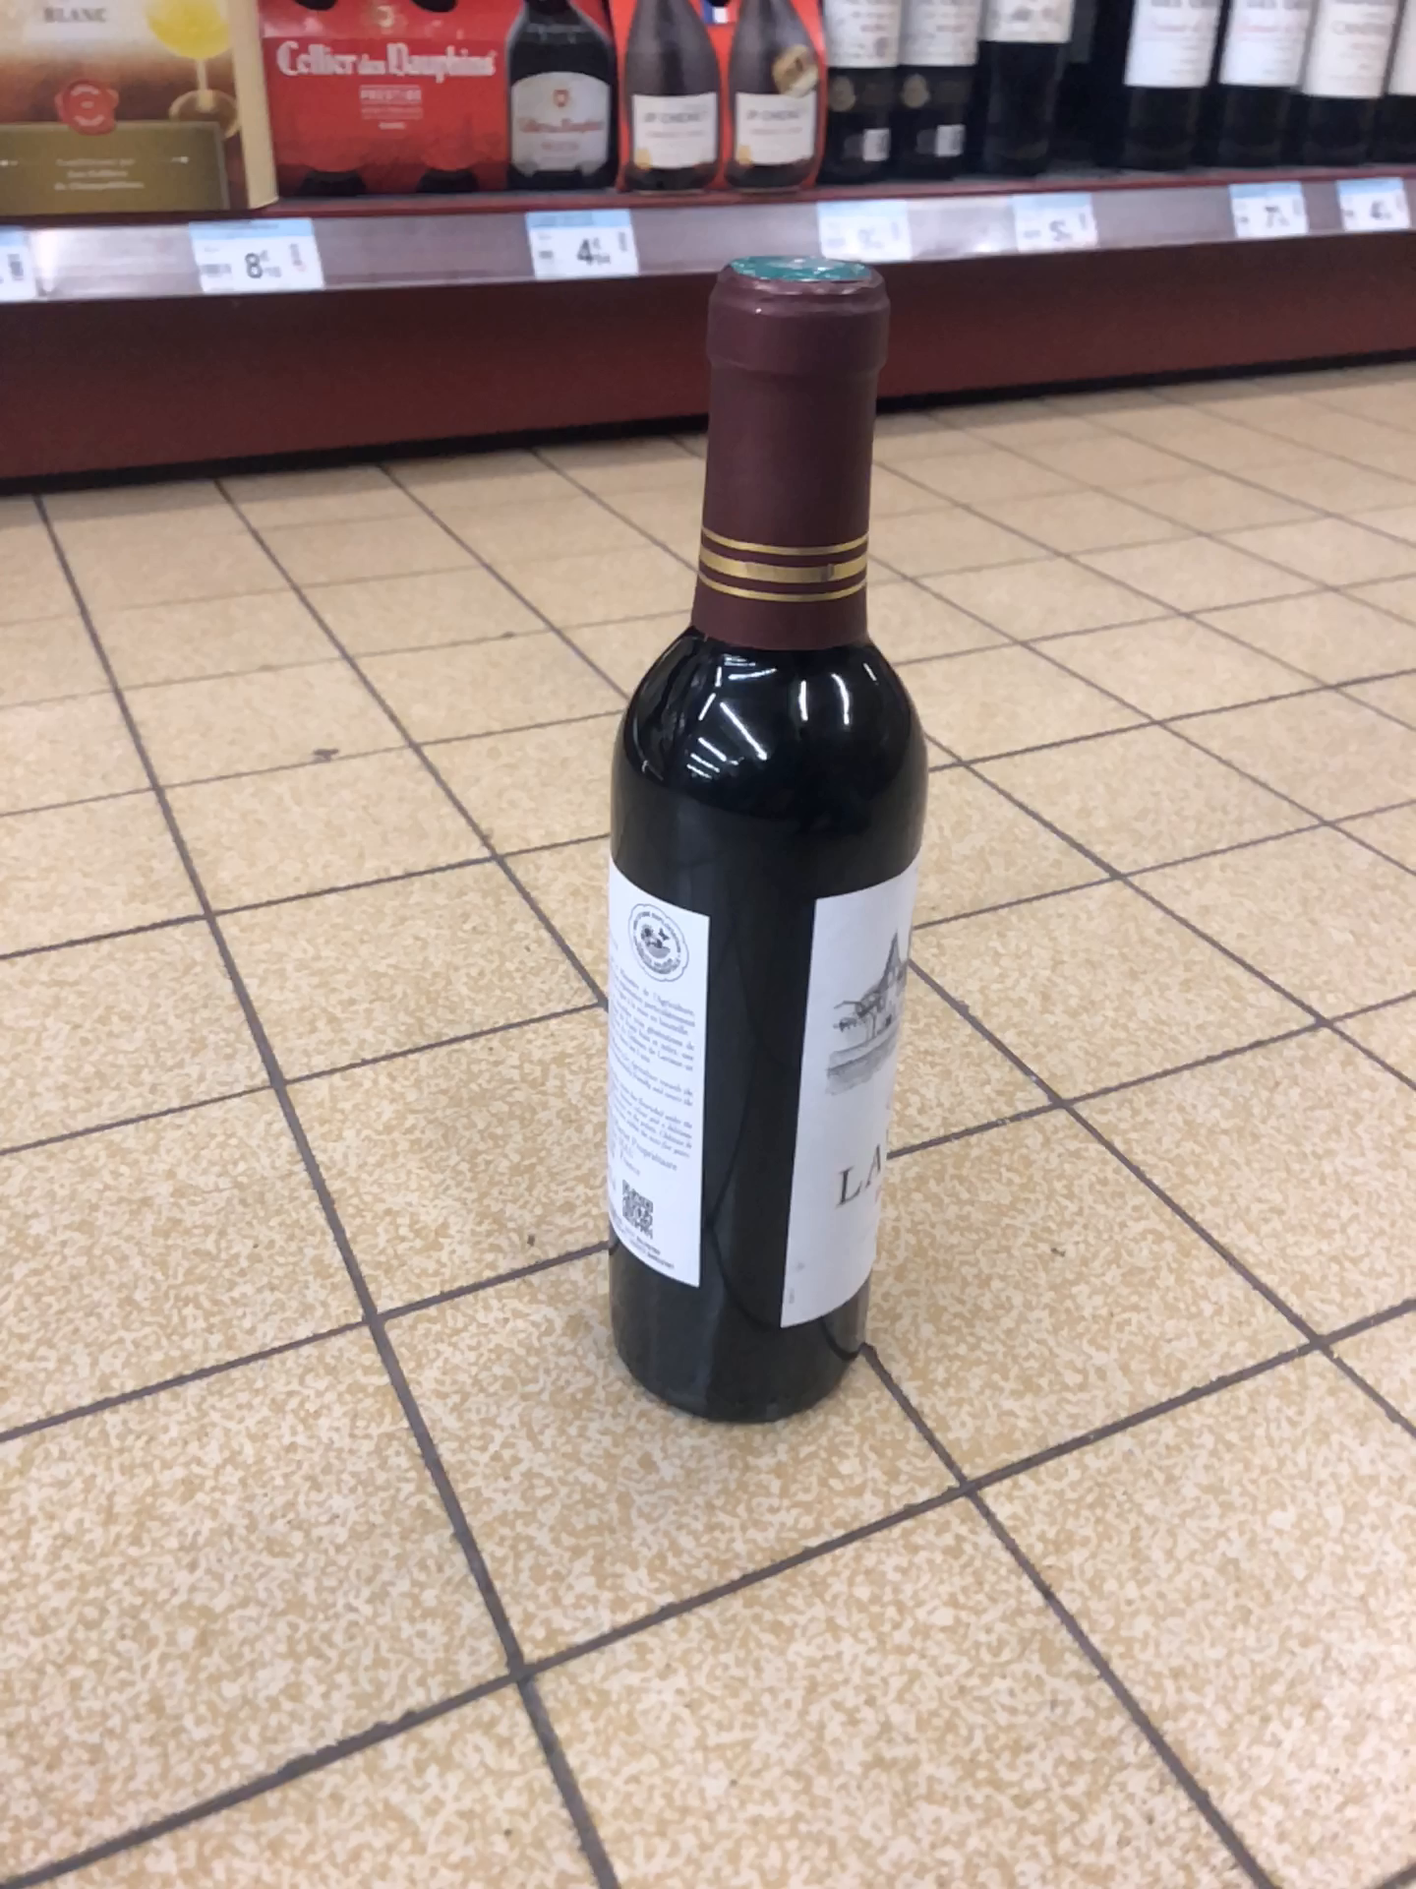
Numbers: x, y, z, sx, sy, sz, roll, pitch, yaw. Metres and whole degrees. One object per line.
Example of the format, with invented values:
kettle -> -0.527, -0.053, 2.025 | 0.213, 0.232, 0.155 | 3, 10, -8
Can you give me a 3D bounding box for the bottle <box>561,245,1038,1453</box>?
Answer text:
bottle -> 0.007, -0.010, 0.299 | 0.060, 0.219, 0.070 | -4, 32, -10
